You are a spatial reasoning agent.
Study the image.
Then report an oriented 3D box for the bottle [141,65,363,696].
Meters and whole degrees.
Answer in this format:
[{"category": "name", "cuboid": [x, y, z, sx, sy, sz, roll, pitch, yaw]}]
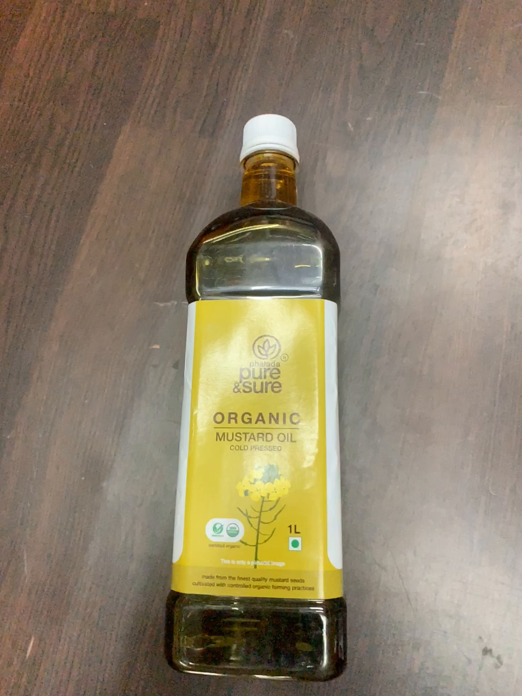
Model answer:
[{"category": "bottle", "cuboid": [0.005, 0.007, 0.264, 0.080, 0.080, 0.270, 1, 76, 6]}]
